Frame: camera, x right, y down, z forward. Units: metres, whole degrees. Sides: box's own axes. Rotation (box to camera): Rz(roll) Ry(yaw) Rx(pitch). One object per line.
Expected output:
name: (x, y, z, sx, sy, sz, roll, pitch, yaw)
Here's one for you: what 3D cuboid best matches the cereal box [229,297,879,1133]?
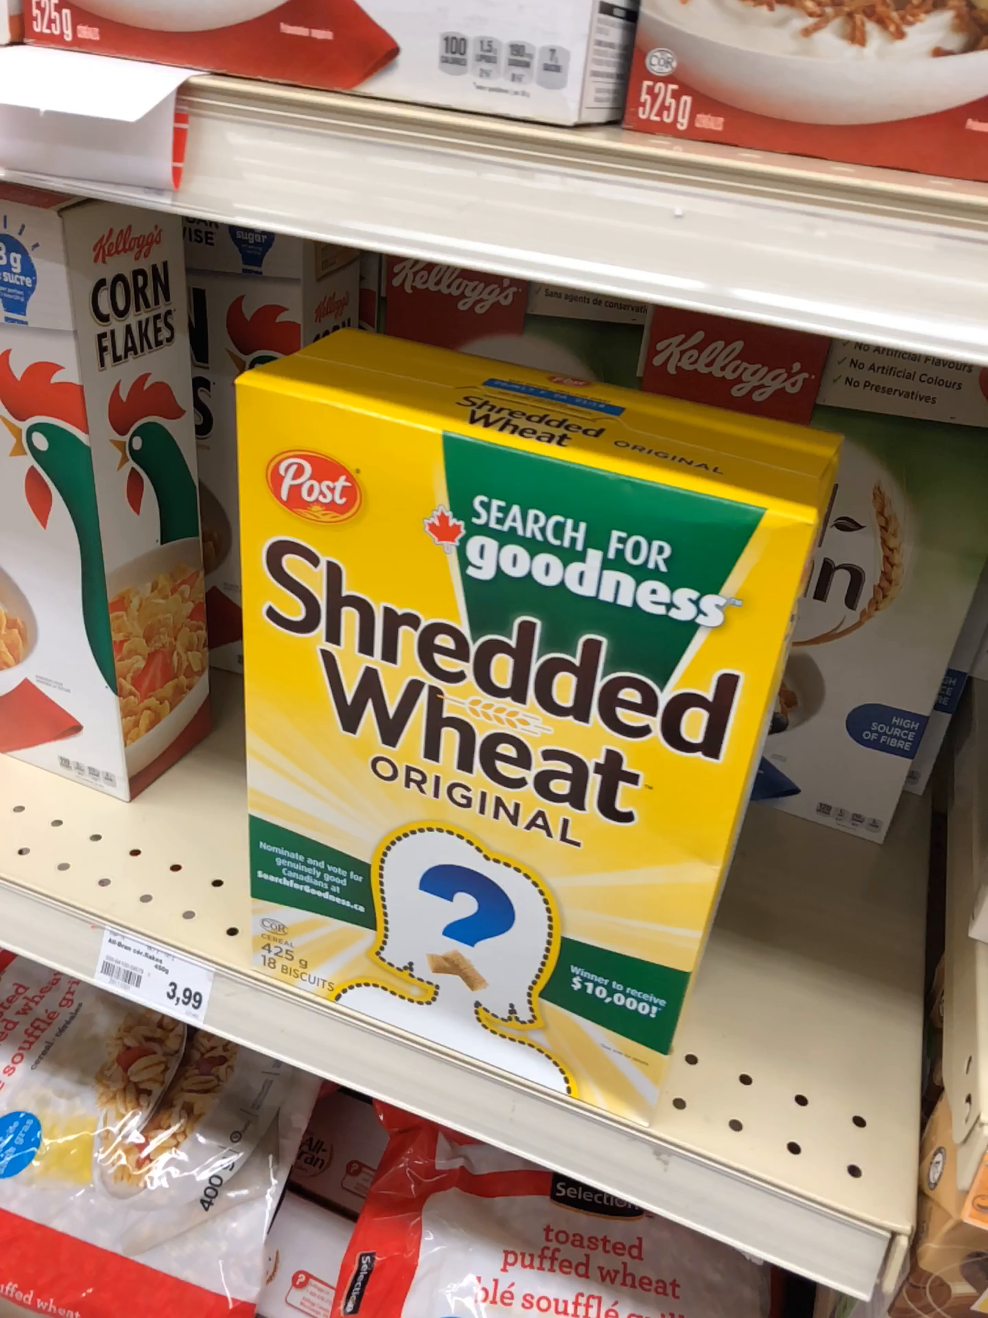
cereal box: (0.009, 0.028, 0.433, 0.200, 0.288, 0.081, 16, 33, 16)
